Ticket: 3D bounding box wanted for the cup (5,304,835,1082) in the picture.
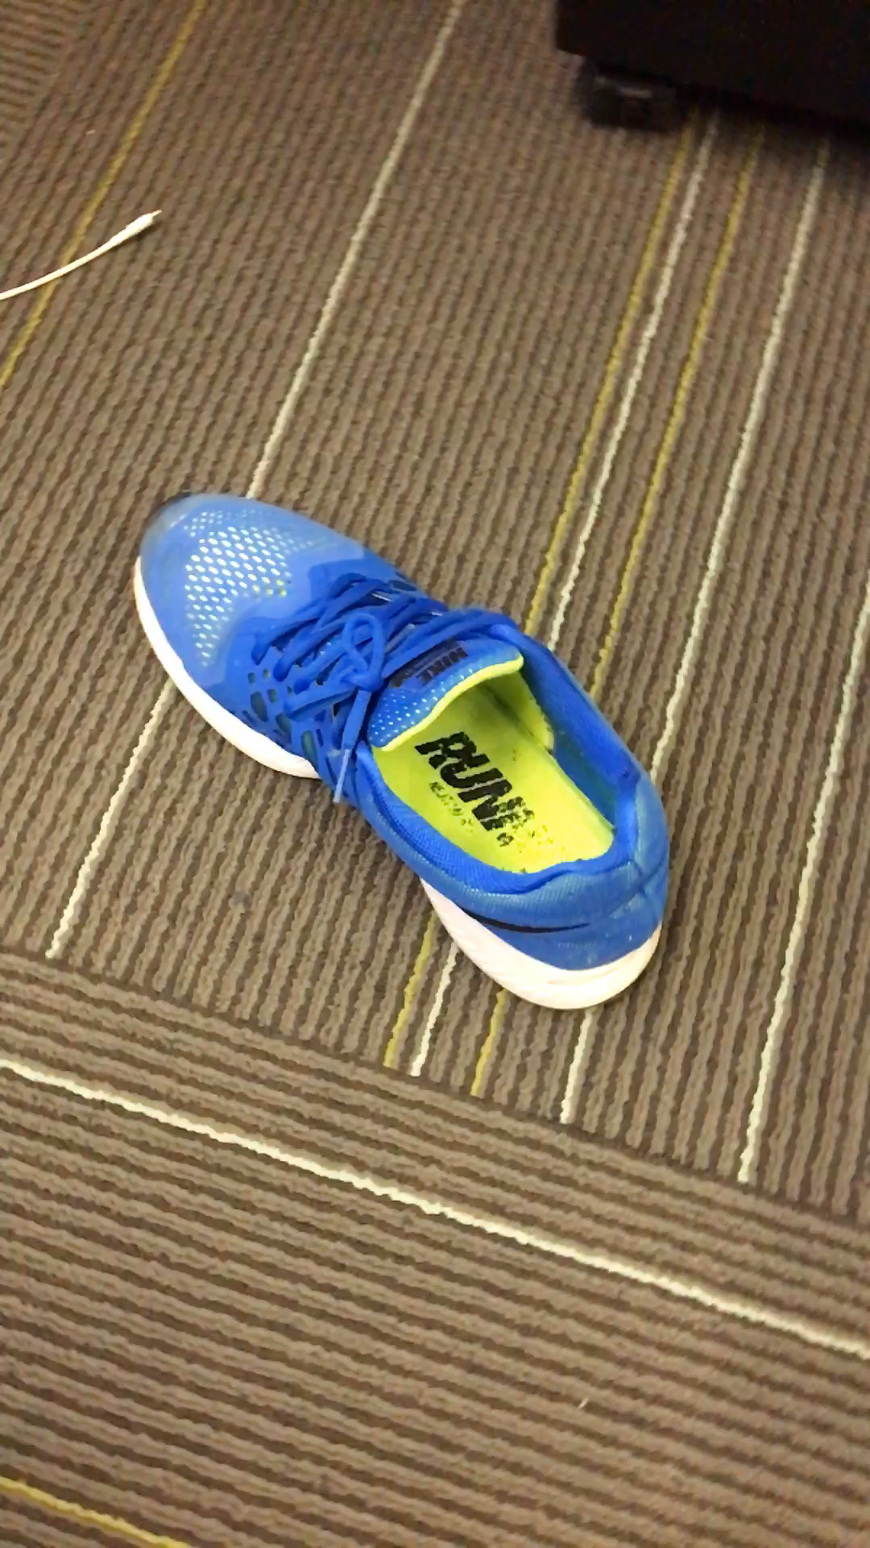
[{"bbox_3d":[-0.012,-0.034,0.526,0.300,0.100,0.130,41,73,13],"label":"cup"}]
